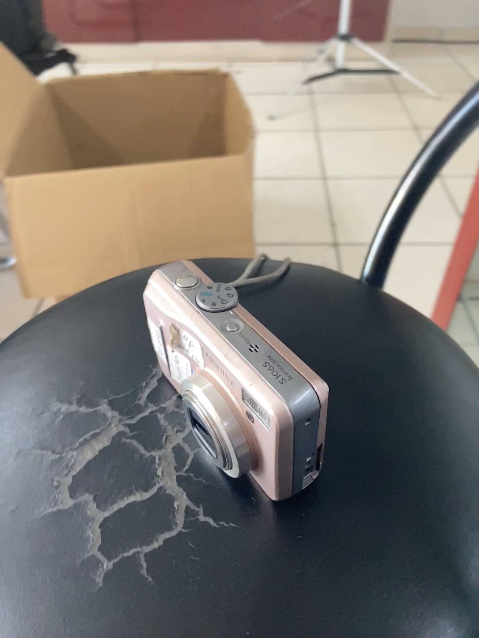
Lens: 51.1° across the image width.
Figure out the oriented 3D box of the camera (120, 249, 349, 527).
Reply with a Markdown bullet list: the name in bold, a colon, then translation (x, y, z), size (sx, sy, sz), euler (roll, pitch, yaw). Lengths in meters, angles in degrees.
- **camera**: translation (-0.006, 0.027, 0.225), size (0.040, 0.070, 0.100), euler (-29, 49, -26)
